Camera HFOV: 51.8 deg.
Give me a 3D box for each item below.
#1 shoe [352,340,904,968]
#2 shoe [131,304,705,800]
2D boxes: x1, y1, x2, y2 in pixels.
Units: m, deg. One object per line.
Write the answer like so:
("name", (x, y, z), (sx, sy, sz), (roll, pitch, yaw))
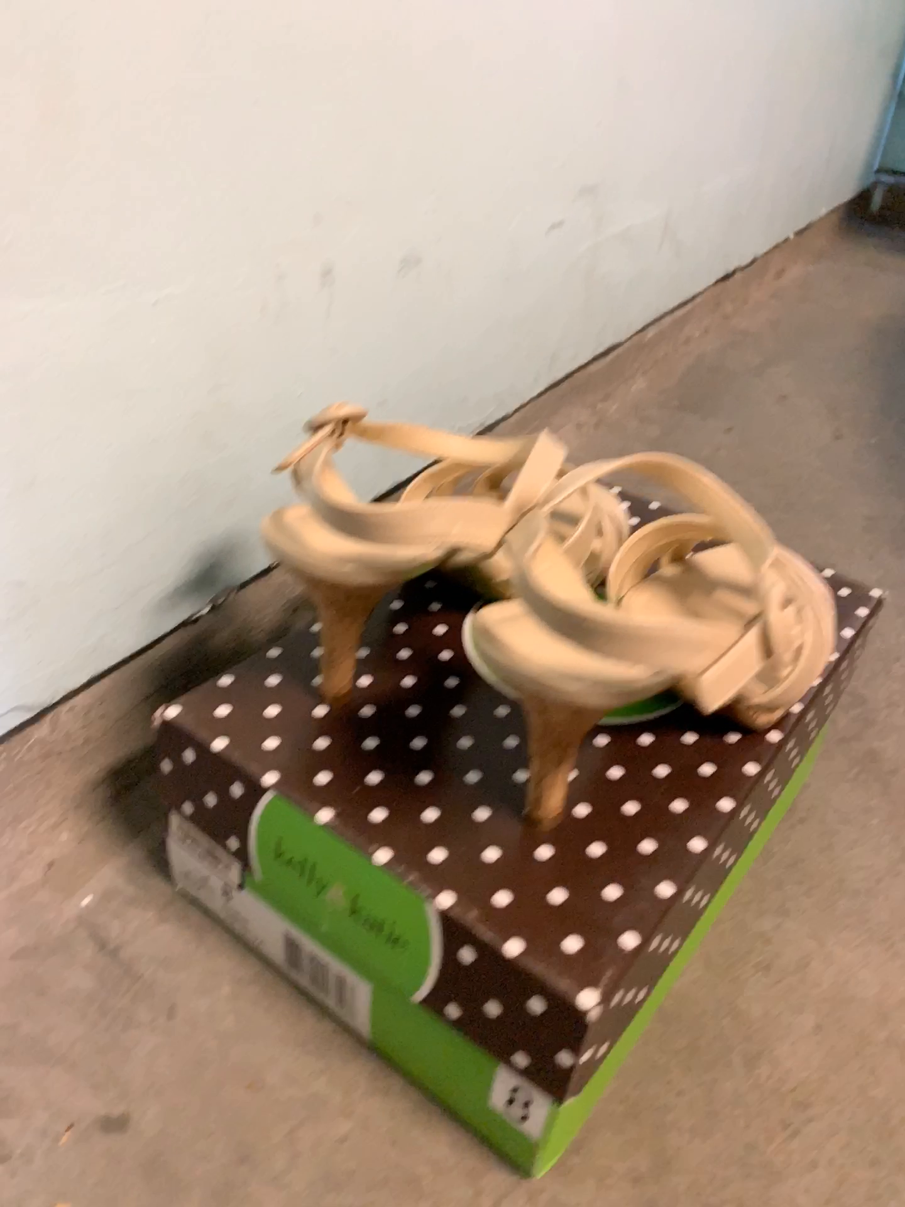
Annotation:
("shoe", (0.084, -0.009, 0.342), (0.100, 0.109, 0.241), (26, 37, 29))
("shoe", (0.000, -0.044, 0.400), (0.100, 0.109, 0.241), (26, 37, 29))
